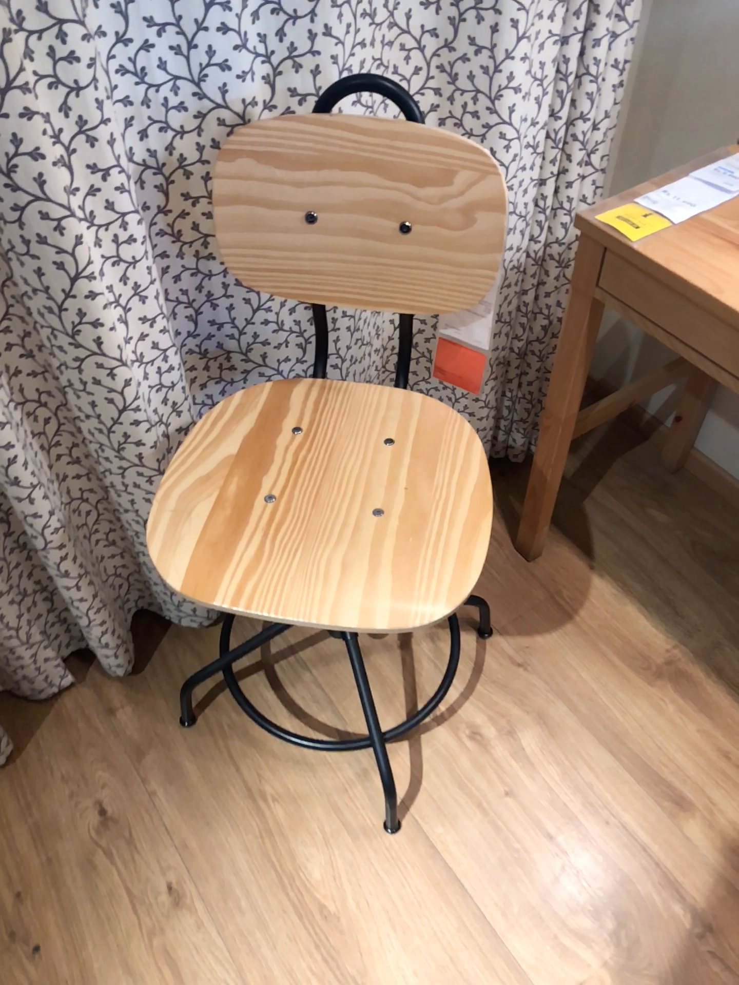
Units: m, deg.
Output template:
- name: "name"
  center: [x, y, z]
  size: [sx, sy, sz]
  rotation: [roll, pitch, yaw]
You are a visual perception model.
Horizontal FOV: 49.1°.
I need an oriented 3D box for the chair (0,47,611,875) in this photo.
- name: "chair"
  center: [-0.064, 0.011, 0.991]
  size: [0.520, 0.815, 0.553]
  rotation: [6, 49, 7]
